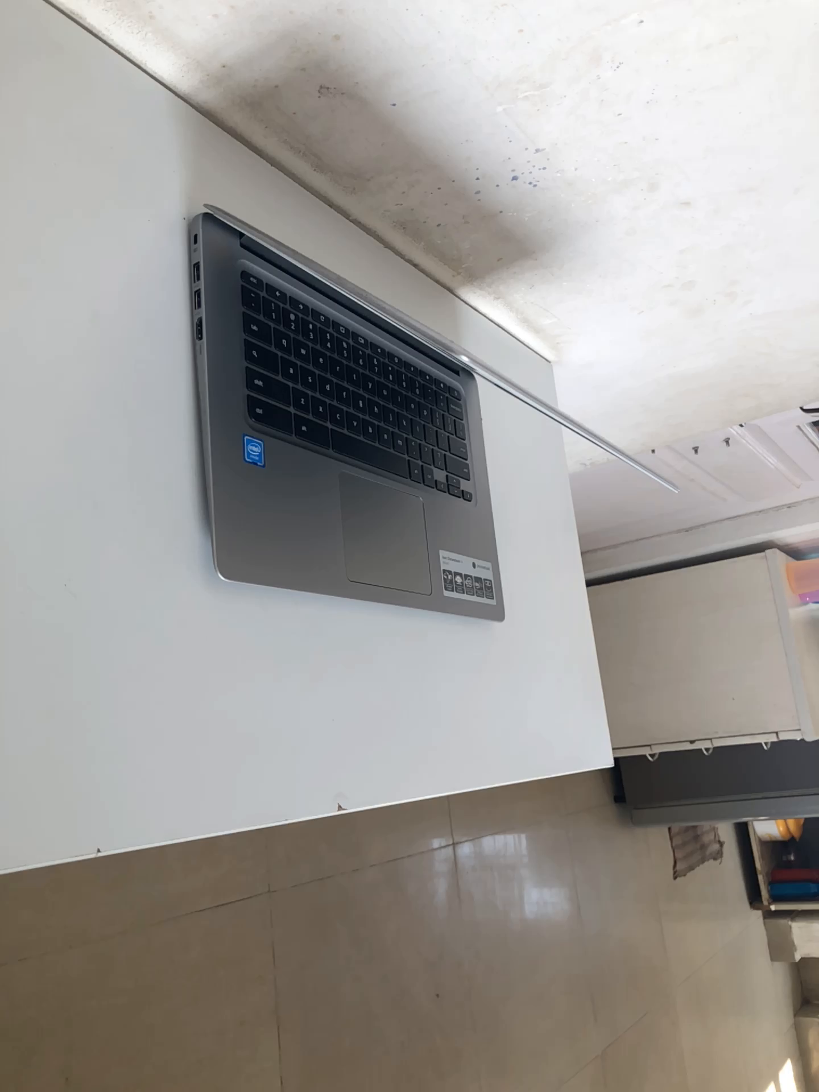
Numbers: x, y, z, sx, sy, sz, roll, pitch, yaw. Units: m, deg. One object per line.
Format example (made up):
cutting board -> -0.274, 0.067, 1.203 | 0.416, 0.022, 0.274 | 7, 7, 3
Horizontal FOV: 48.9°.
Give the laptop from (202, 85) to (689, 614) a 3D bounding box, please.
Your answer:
laptop -> 0.043, -0.089, 0.606 | 0.327, 0.155, 0.221 | 14, 65, -55
